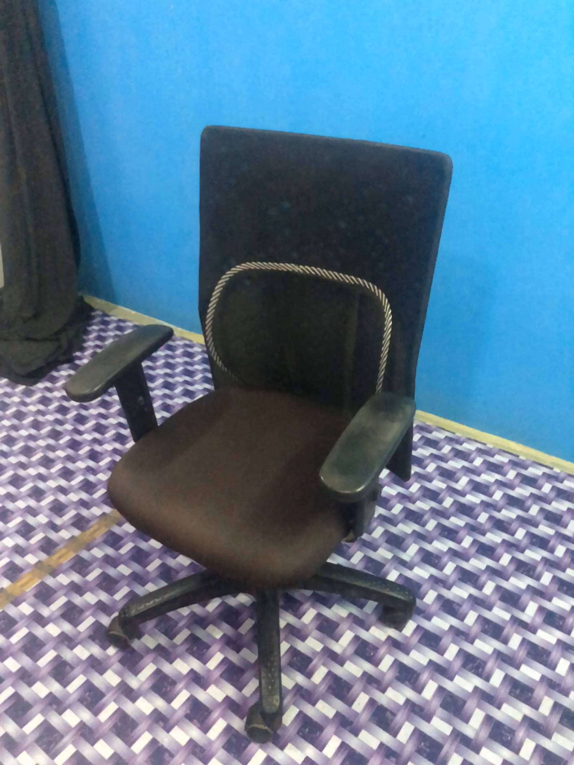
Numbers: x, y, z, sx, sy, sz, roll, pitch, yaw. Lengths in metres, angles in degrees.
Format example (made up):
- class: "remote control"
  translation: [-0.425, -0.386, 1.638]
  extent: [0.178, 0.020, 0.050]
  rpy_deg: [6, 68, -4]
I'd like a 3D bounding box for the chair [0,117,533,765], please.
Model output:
- class: "chair"
  translation: [-0.041, 0.061, 1.165]
  extent: [0.660, 0.885, 0.674]
  rpy_deg: [16, 36, 26]
